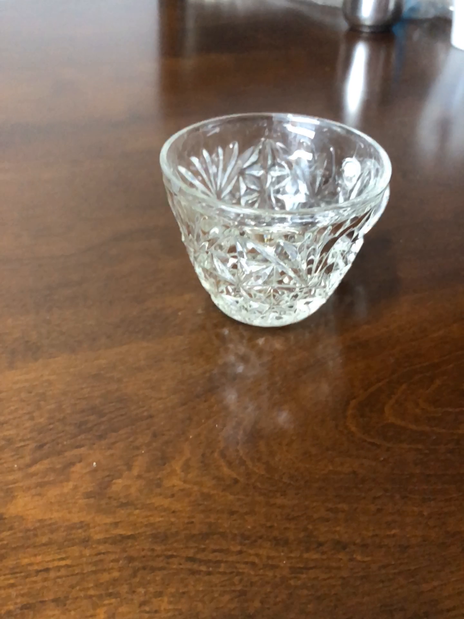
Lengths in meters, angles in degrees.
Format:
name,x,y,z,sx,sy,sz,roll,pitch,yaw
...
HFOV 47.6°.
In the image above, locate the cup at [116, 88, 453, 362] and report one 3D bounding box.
name,x,y,z,sx,sy,sz,roll,pitch,yaw
cup,0.017,-0.039,0.210,0.100,0.060,0.070,-19,44,-20
